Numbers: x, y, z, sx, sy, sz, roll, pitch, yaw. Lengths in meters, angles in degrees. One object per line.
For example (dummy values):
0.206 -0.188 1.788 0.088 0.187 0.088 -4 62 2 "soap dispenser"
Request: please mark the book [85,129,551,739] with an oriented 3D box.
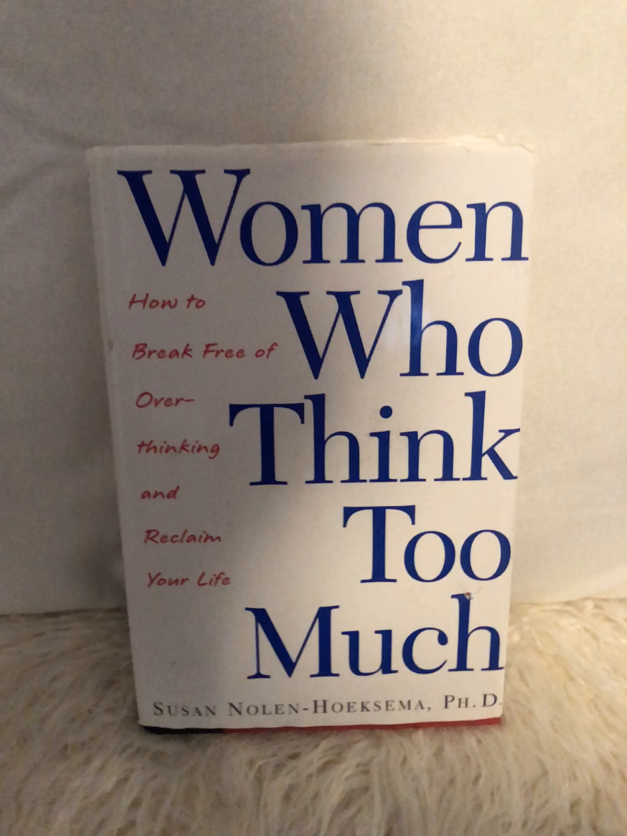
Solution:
0.002 0.012 0.294 0.166 0.241 0.040 -1 12 -3 "book"
